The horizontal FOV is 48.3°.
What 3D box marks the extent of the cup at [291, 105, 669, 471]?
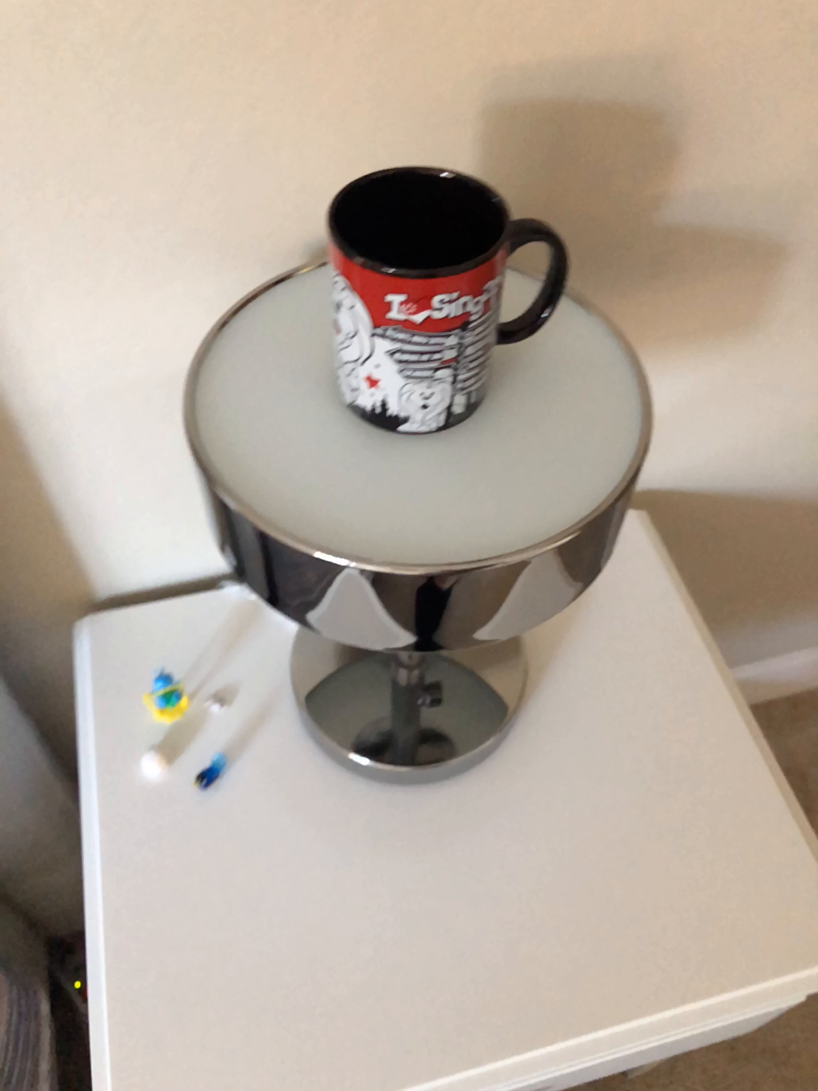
[{"bbox_3d":[0.027,-0.119,0.420,0.130,0.100,0.090,-21,56,-17],"label":"cup"}]
